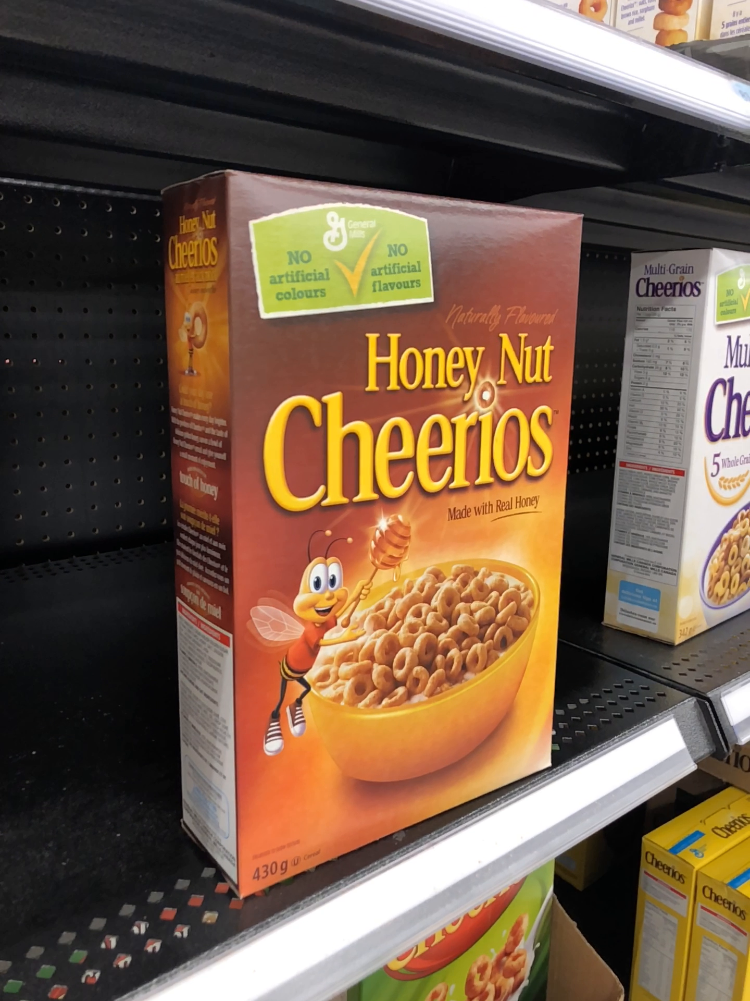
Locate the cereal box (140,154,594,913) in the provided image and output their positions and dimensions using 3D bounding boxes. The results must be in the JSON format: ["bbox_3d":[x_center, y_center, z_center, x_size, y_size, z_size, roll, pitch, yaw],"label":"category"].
[{"bbox_3d":[0.001,0.009,0.401,0.200,0.299,0.070,-7,15,-35],"label":"cereal box"}]
